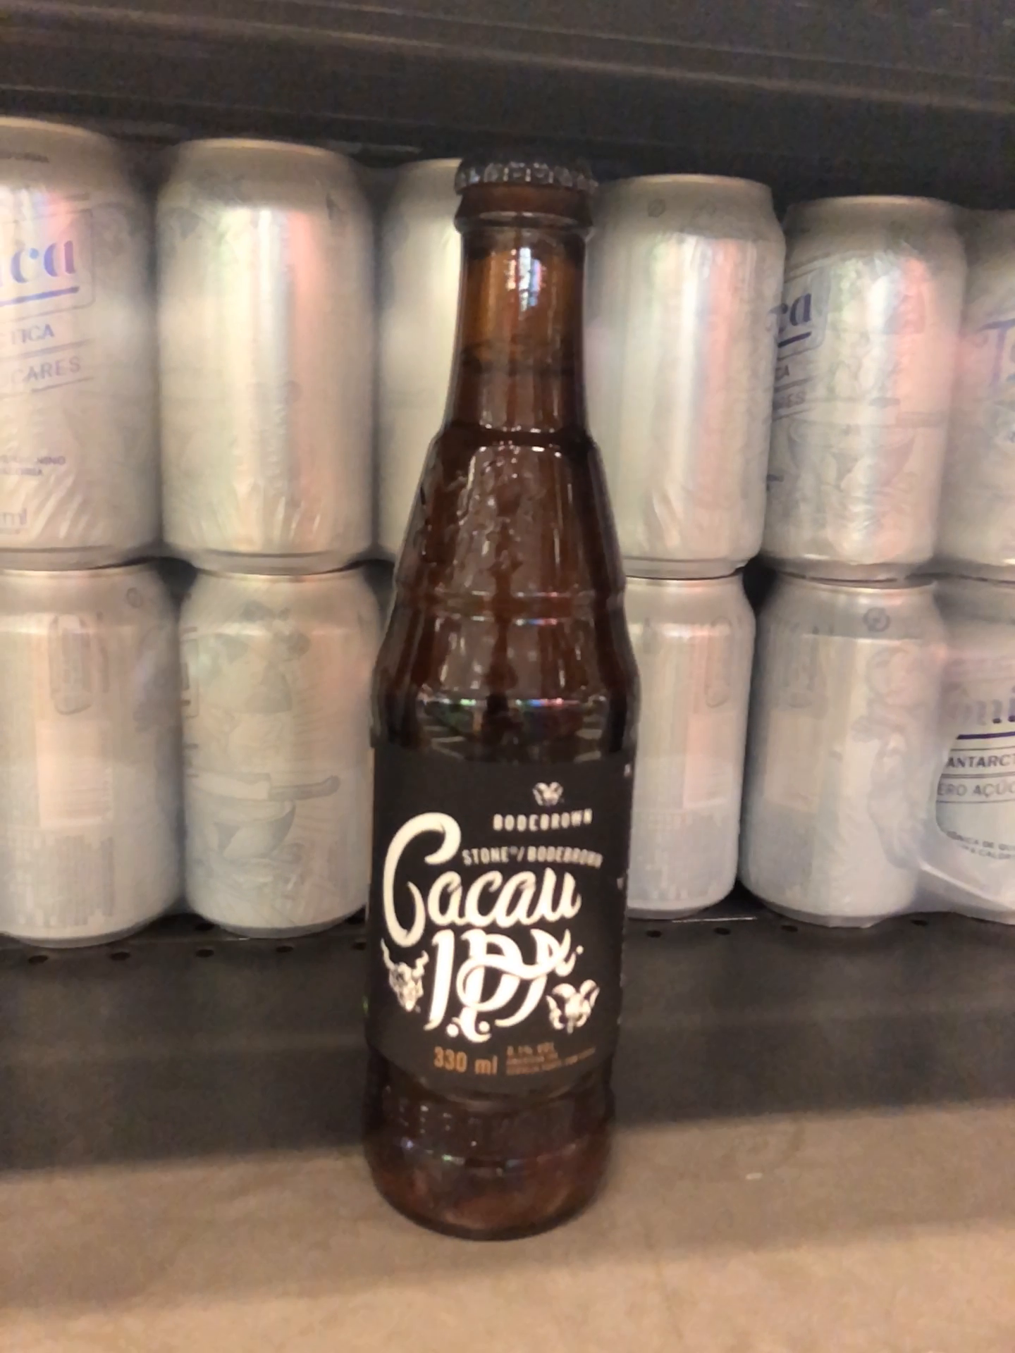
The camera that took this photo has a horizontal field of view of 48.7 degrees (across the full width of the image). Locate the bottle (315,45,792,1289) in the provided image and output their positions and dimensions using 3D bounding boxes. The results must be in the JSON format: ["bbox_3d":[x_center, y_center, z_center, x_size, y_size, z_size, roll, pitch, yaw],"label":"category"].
[{"bbox_3d":[0.003,0.006,0.255,0.080,0.249,0.070,3,14,-1],"label":"bottle"}]
